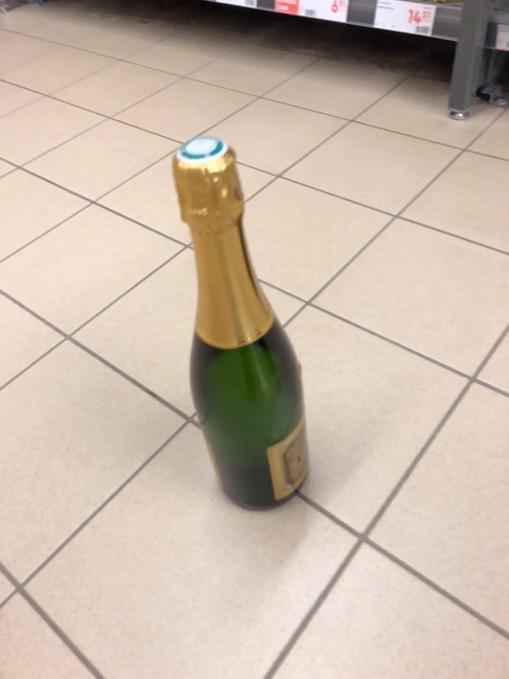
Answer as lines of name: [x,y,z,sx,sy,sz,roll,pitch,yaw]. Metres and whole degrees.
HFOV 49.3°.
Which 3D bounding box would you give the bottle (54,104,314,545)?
bottle: [-0.020,0.021,0.376,0.100,0.308,0.101,-4,46,4]
